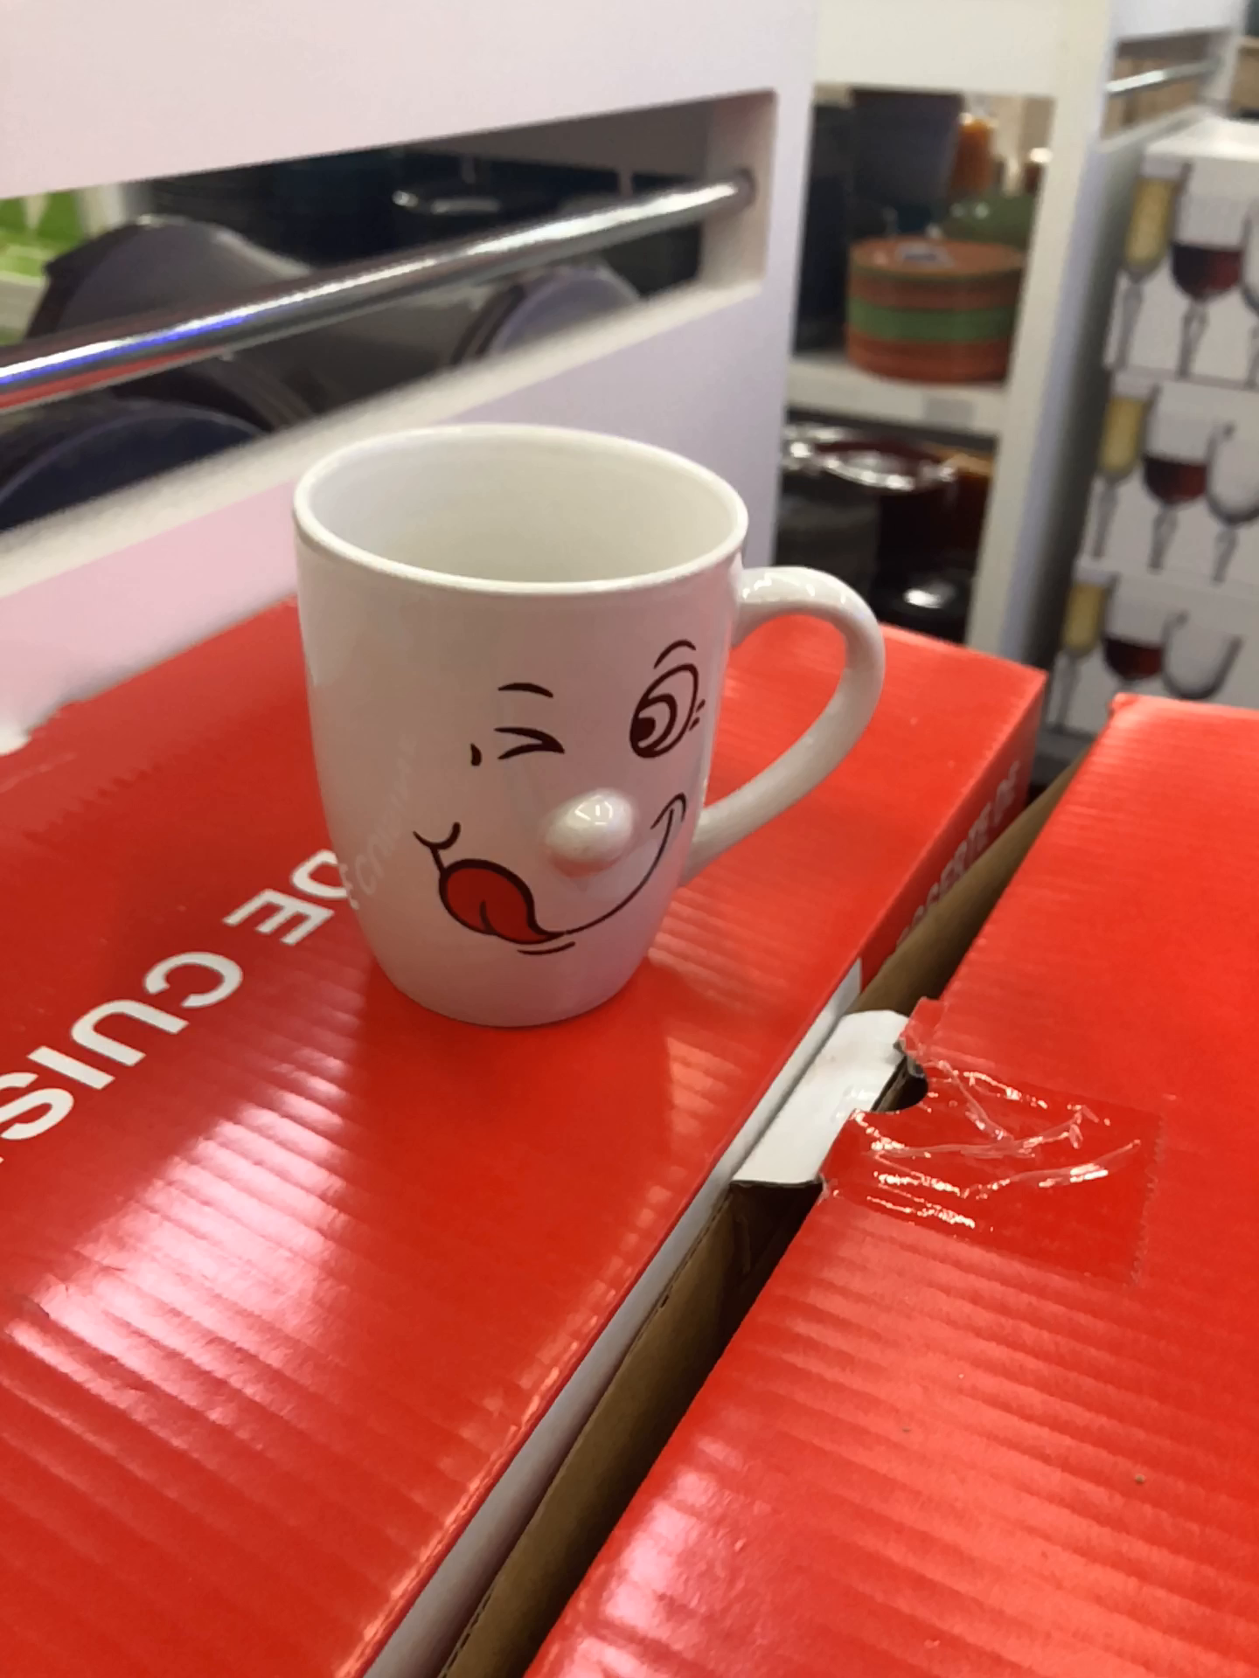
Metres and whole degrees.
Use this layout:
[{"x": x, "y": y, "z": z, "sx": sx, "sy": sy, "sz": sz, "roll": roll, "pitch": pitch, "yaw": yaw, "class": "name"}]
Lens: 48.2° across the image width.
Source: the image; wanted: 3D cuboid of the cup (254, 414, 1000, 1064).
[{"x": -0.008, "y": -0.028, "z": 0.293, "sx": 0.124, "sy": 0.092, "sz": 0.093, "roll": -7, "pitch": 32, "yaw": -14, "class": "cup"}]
